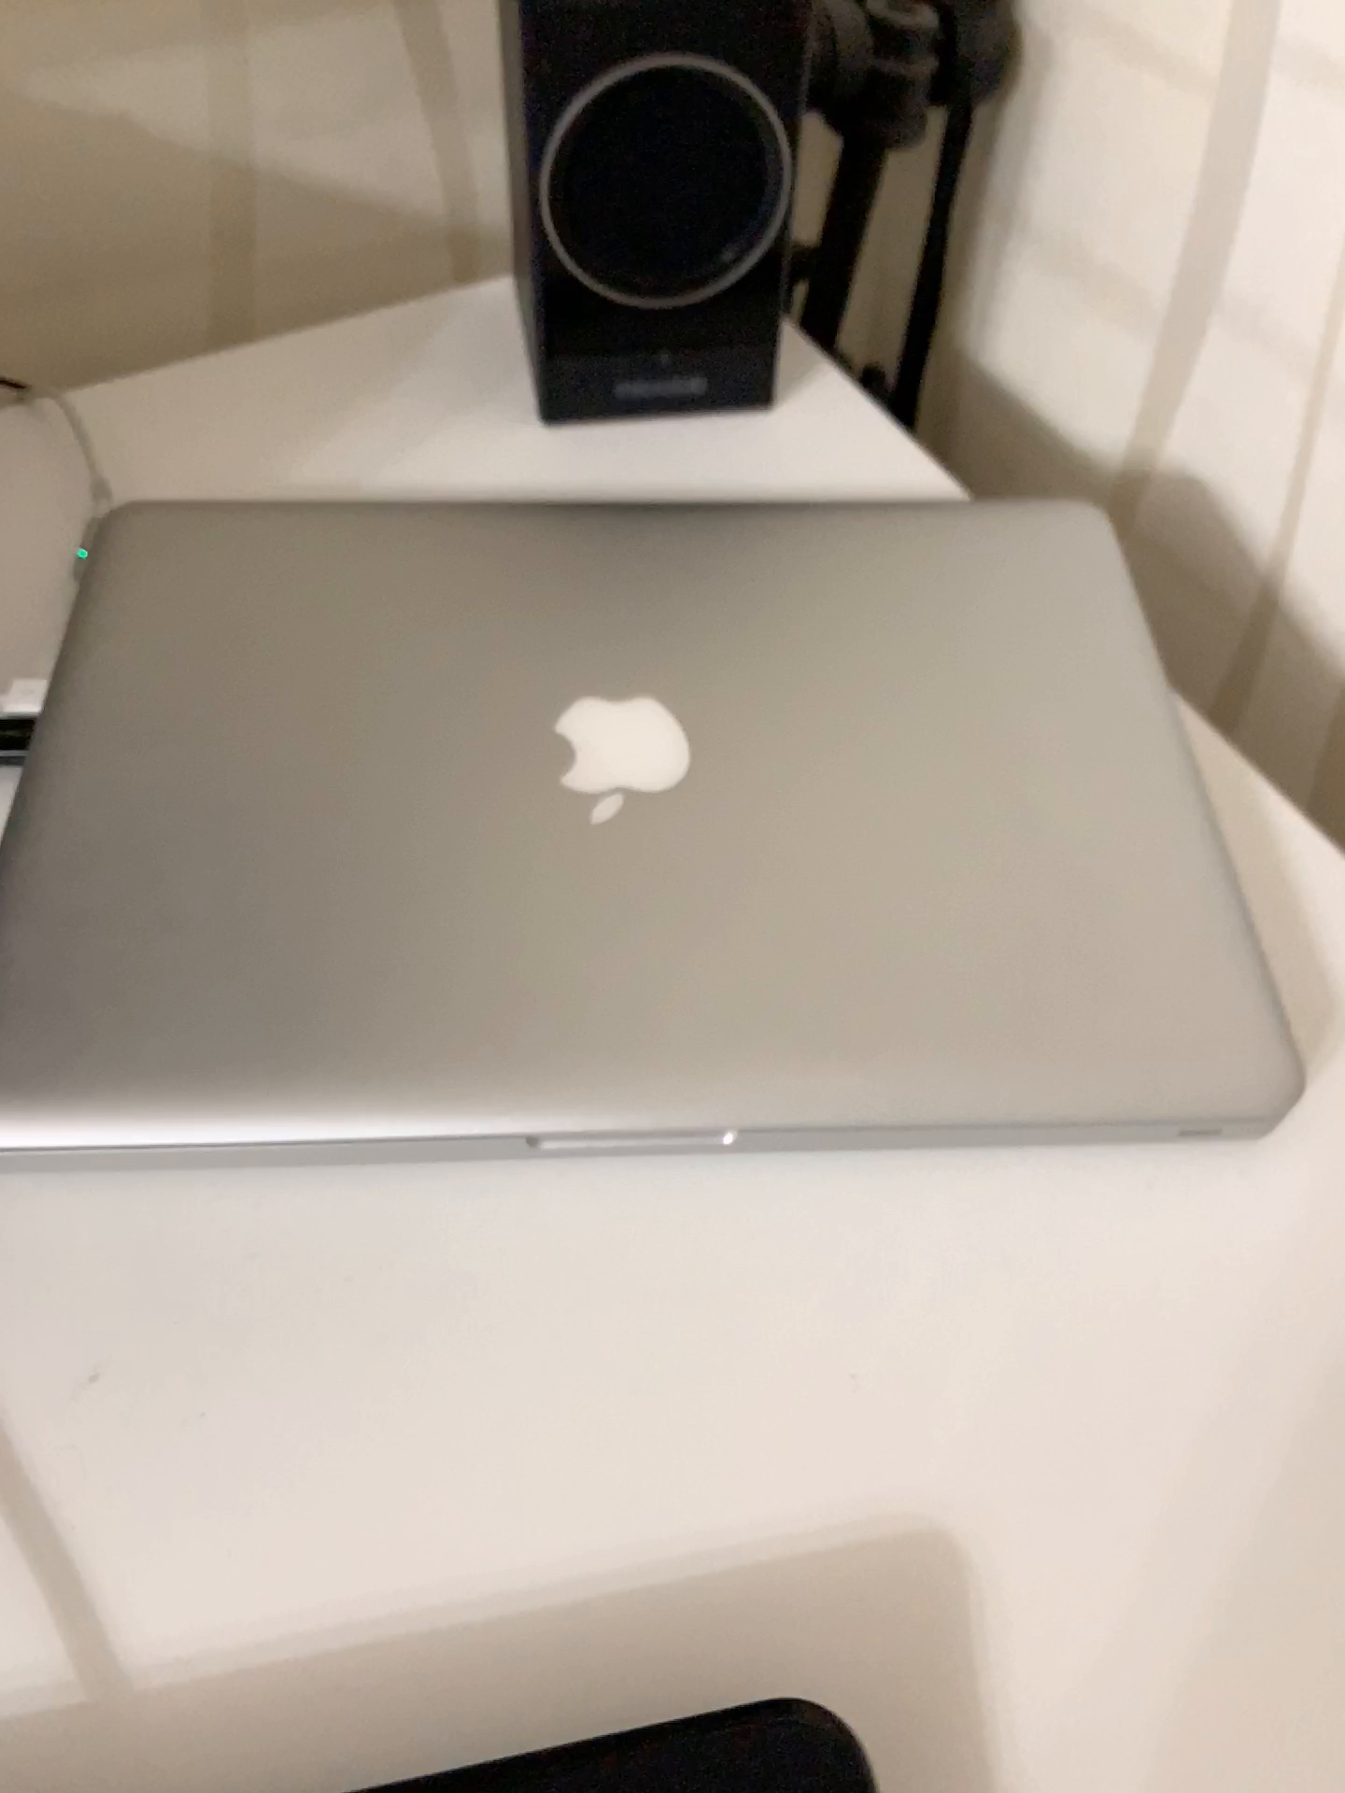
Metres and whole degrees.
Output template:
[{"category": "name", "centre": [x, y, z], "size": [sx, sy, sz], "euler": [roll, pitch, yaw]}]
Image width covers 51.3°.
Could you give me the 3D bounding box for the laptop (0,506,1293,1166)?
[{"category": "laptop", "centre": [-0.011, -0.032, 0.386], "size": [0.305, 0.007, 0.219], "euler": [-1, 54, -5]}]
